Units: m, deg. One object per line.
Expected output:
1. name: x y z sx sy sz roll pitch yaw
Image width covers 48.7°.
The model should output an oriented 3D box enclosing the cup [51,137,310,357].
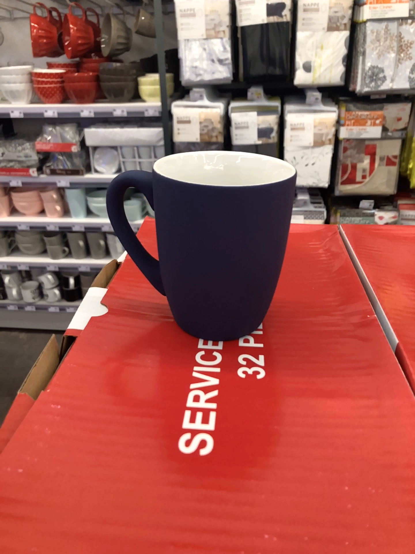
1. cup: -0.008 -0.025 0.268 0.121 0.087 0.091 8 25 11
